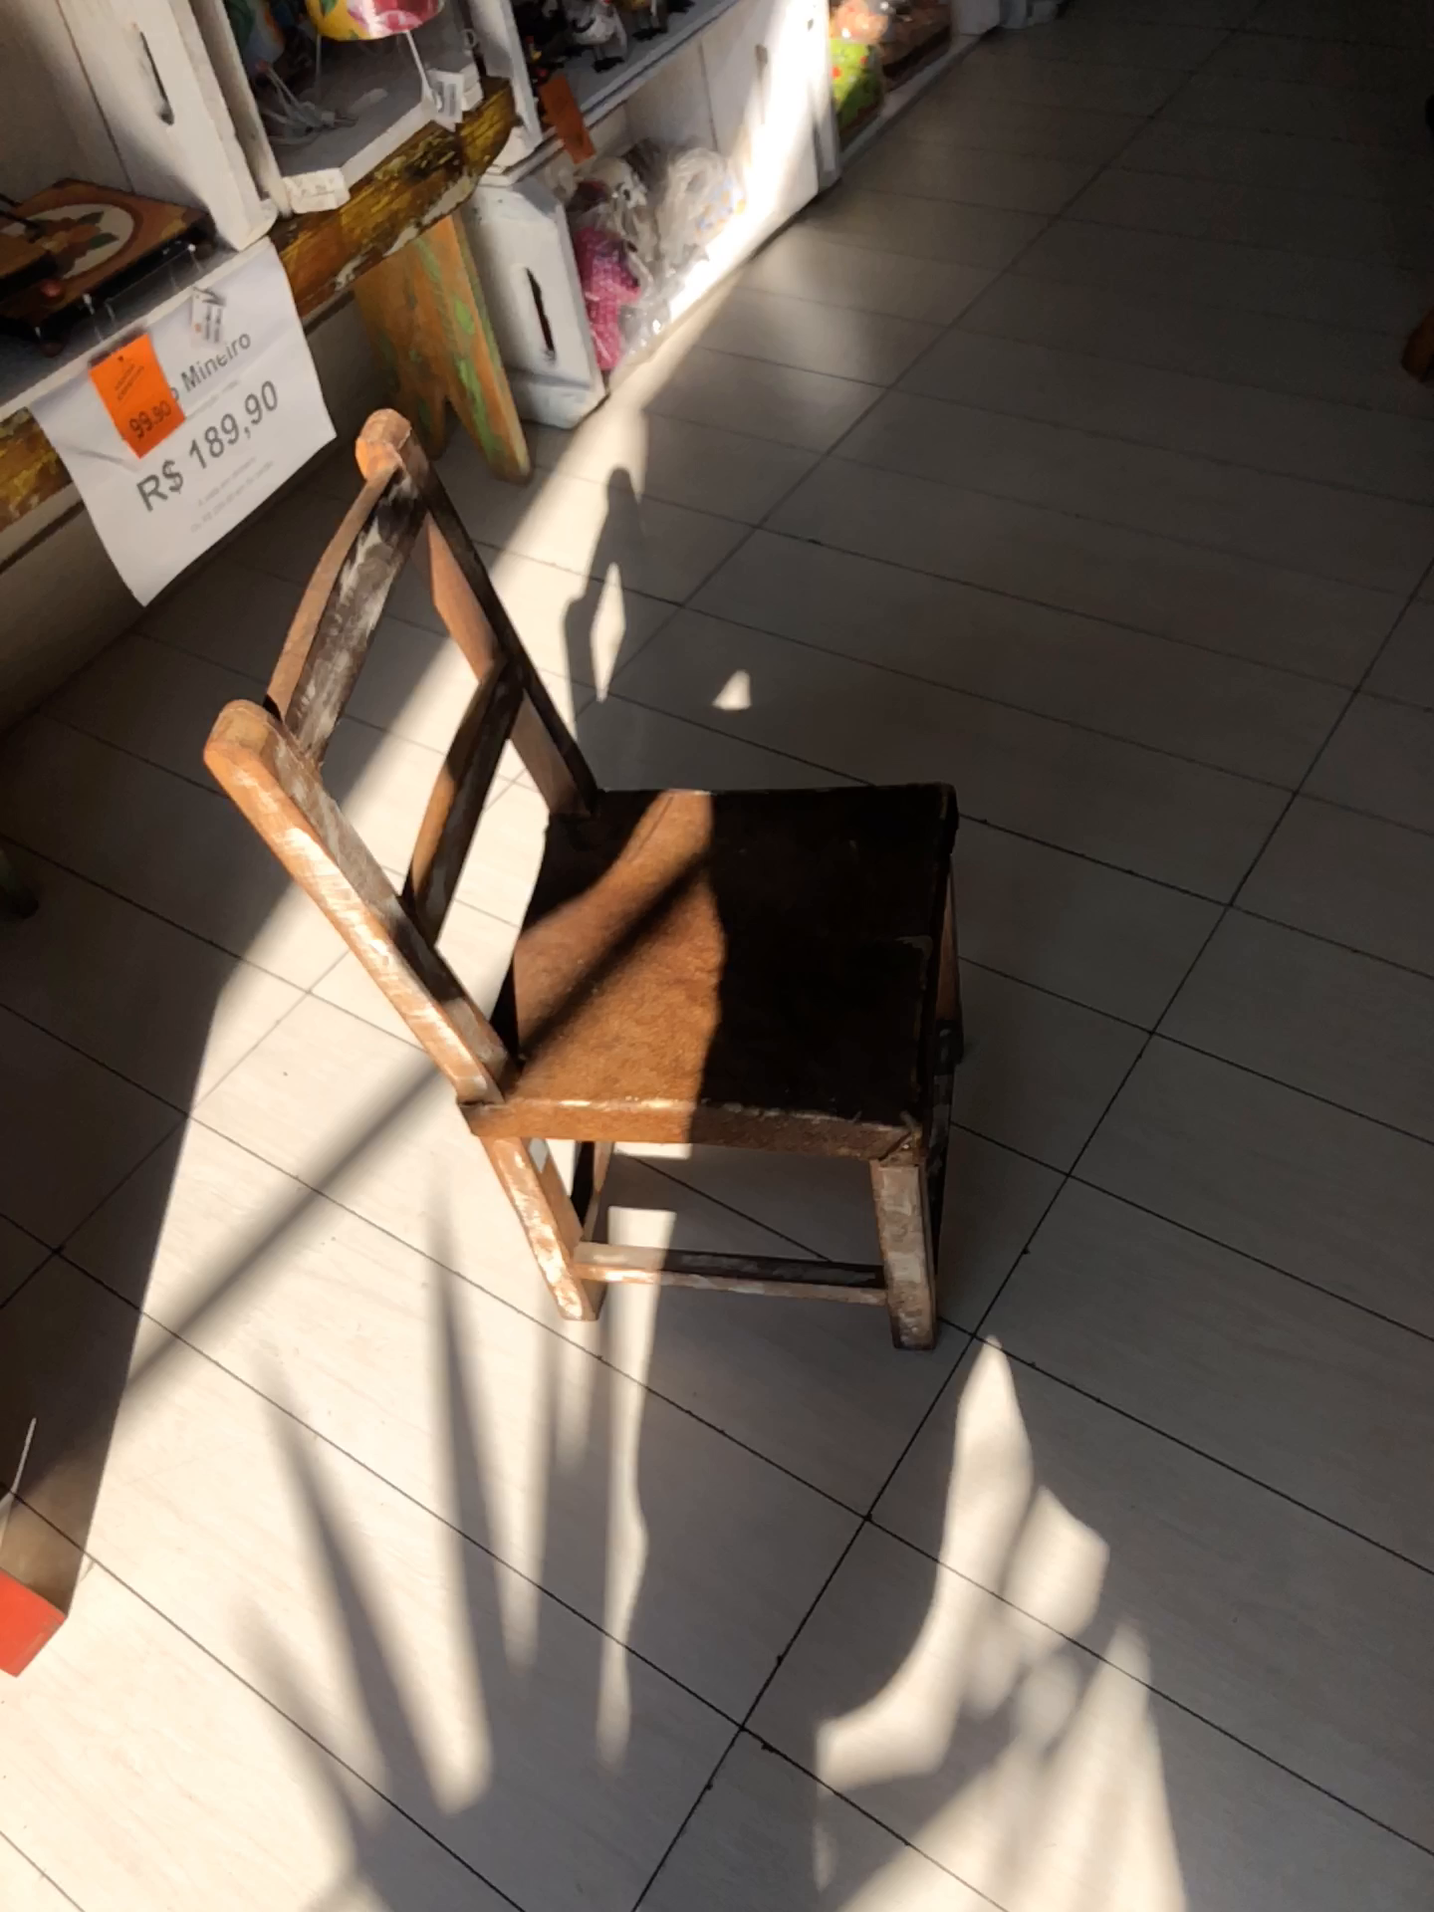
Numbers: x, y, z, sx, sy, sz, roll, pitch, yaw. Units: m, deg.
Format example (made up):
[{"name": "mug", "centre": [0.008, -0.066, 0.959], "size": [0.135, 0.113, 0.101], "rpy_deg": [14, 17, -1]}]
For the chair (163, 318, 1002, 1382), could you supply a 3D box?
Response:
[{"name": "chair", "centre": [-0.009, -0.023, 0.978], "size": [0.340, 0.596, 0.302], "rpy_deg": [1, 50, 13]}]
